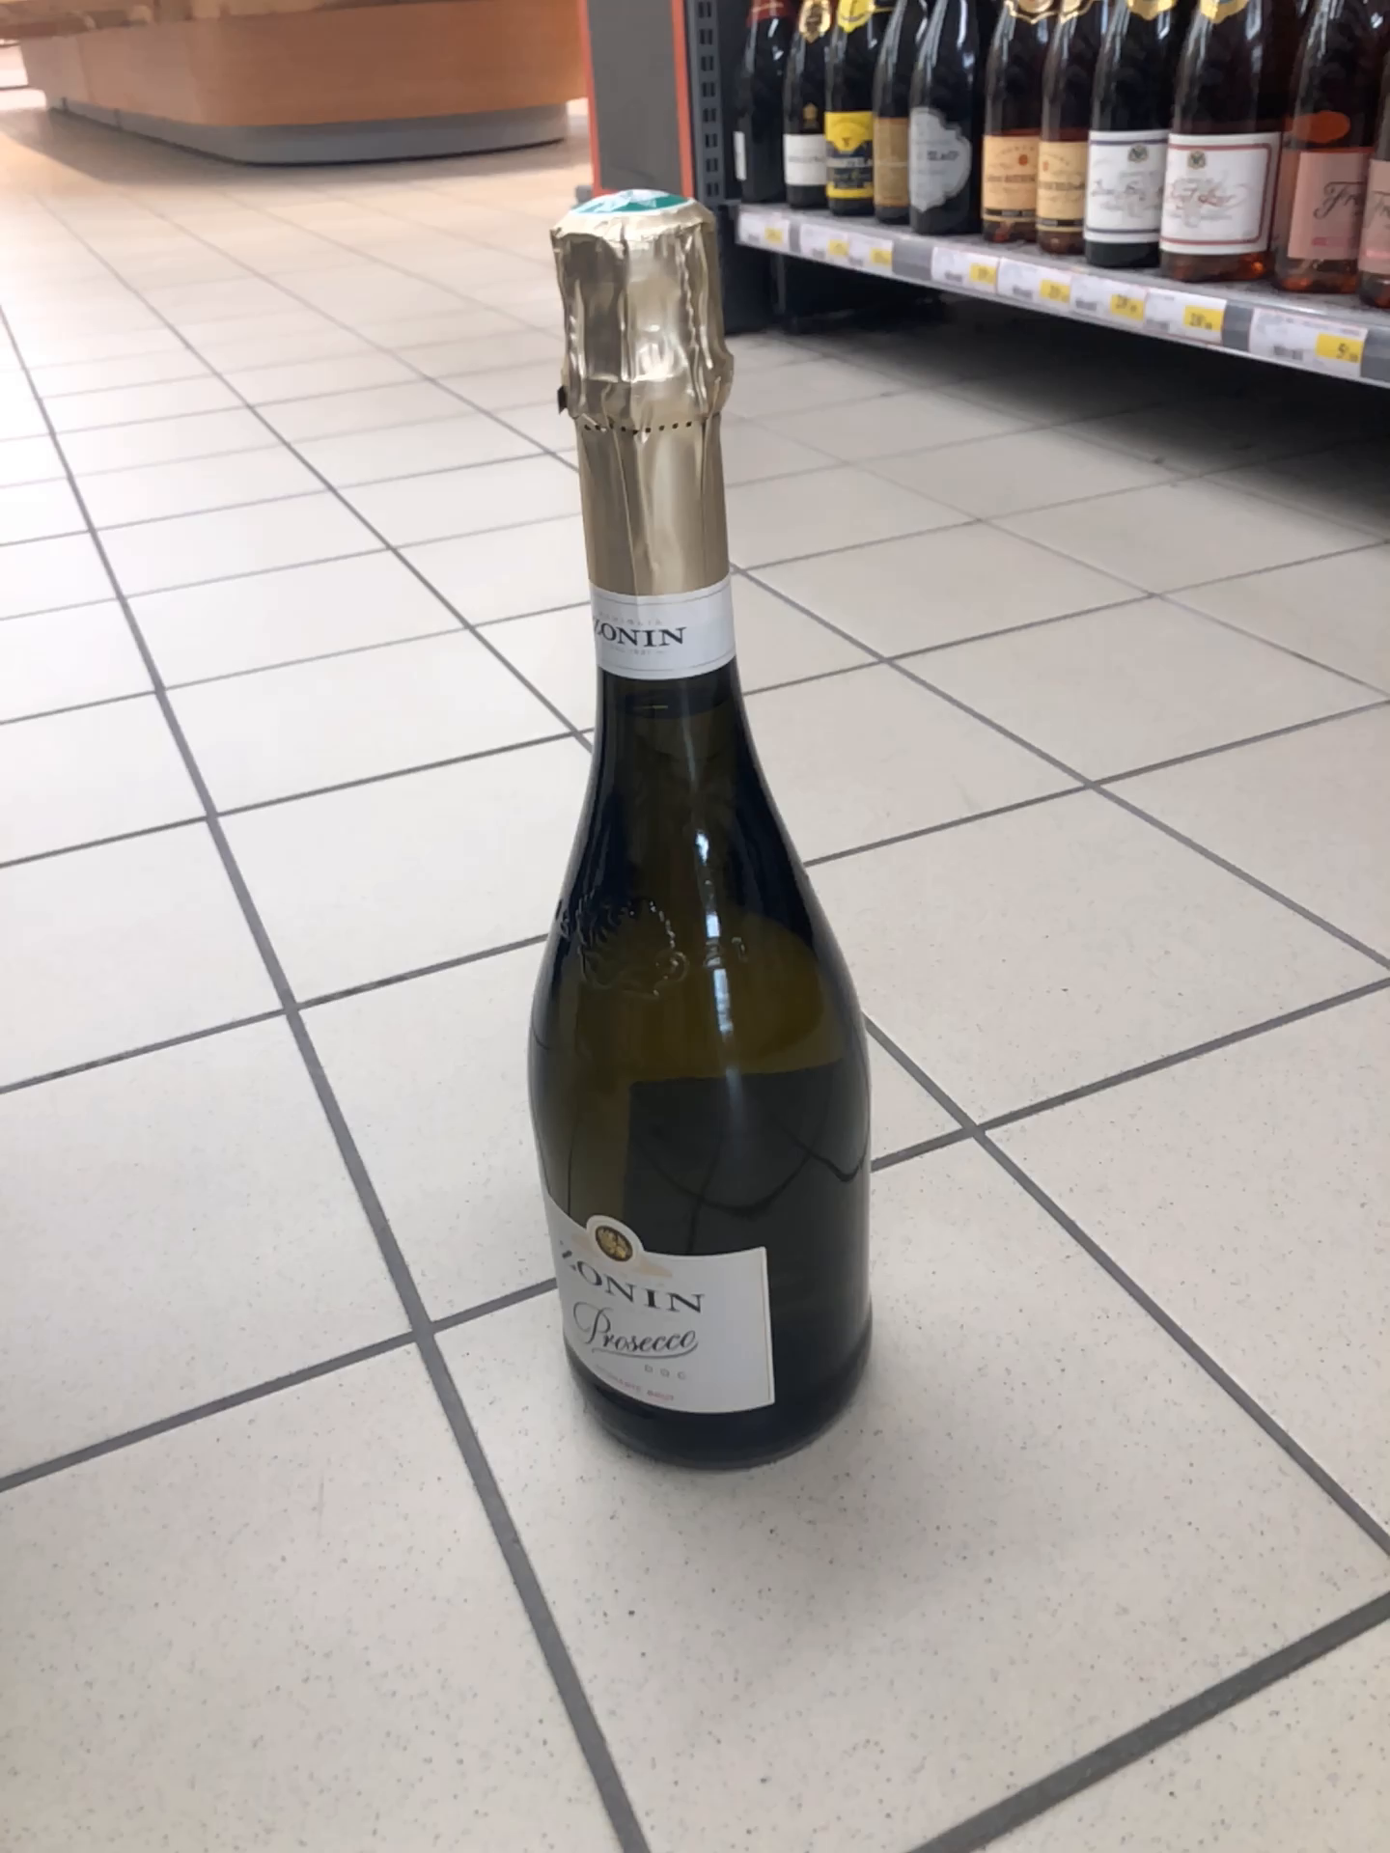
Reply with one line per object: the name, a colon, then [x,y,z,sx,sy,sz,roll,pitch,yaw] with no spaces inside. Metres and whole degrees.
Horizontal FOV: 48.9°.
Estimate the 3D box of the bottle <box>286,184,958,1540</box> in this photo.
bottle: [-0.002,-0.006,0.375,0.100,0.308,0.091,12,33,26]
